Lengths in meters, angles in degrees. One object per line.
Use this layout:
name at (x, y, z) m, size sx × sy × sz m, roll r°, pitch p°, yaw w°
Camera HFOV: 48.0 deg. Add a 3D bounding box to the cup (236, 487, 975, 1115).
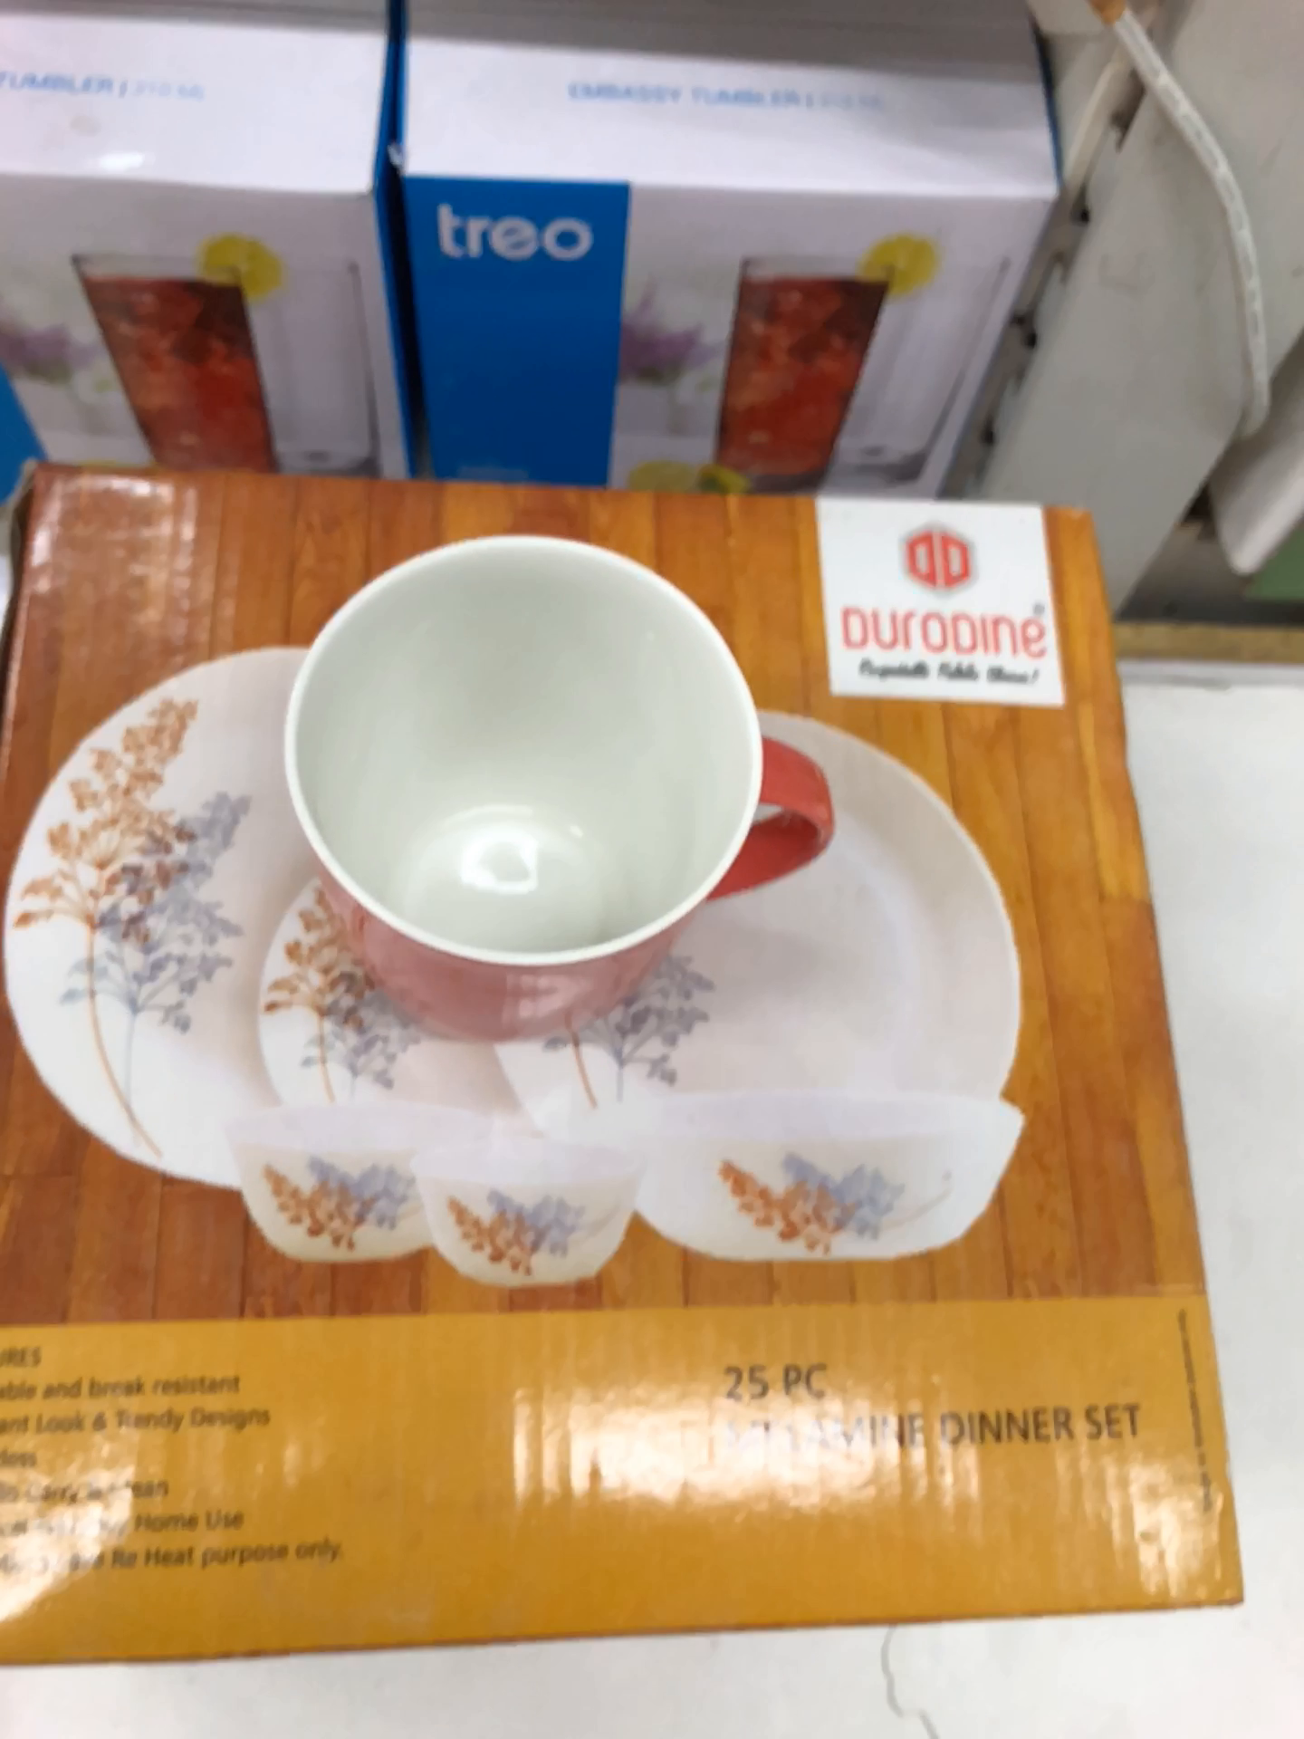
cup at (-0.009, -0.007, 0.301) m, size 0.120 × 0.100 × 0.090 m, roll 2°, pitch 67°, yaw -3°
